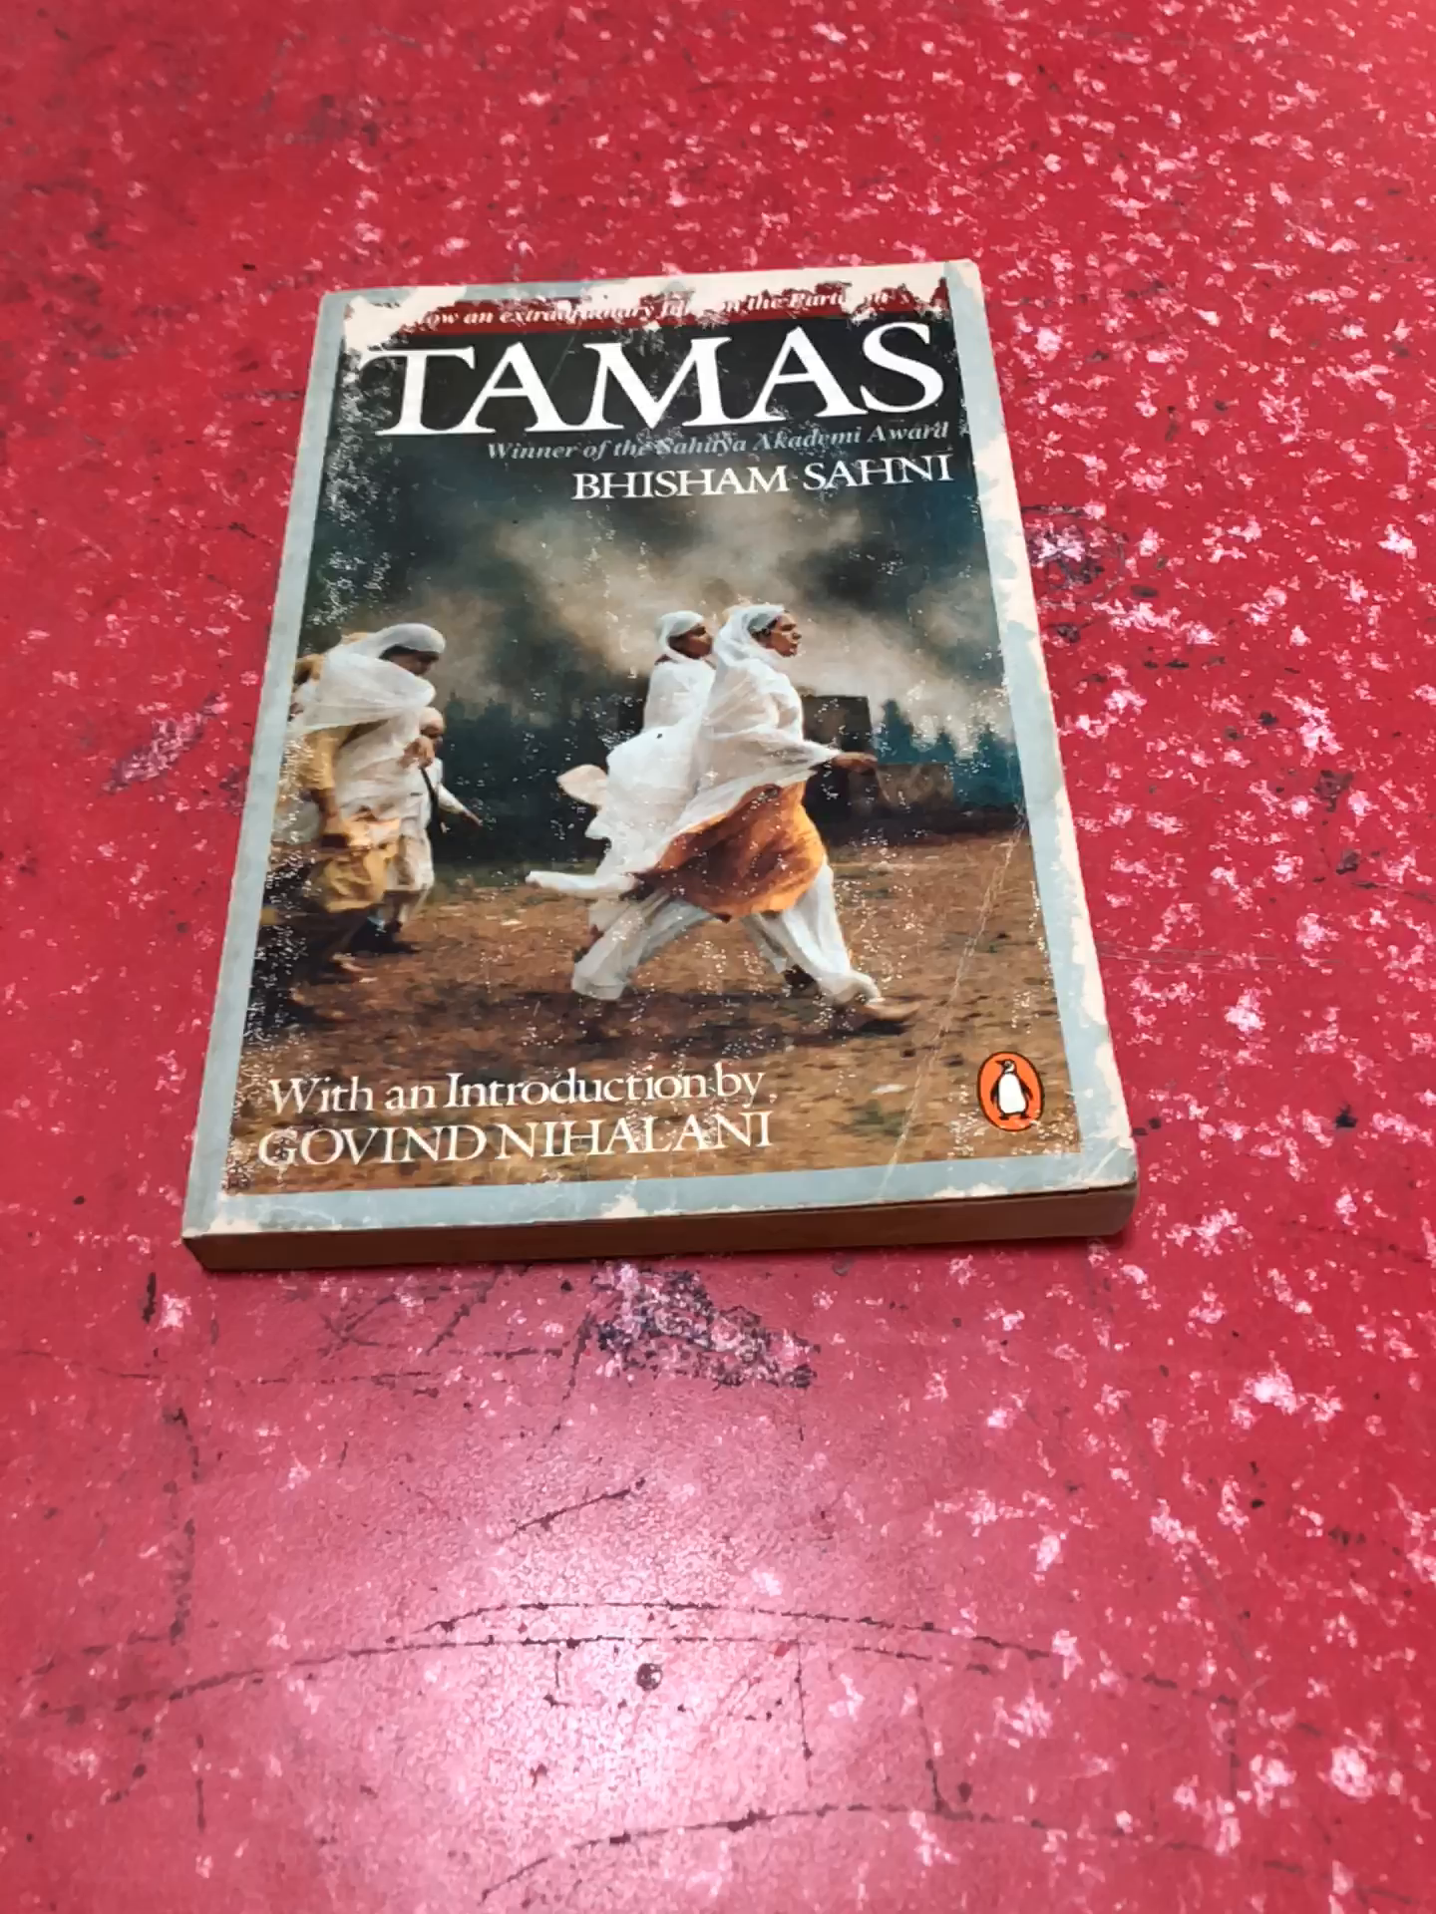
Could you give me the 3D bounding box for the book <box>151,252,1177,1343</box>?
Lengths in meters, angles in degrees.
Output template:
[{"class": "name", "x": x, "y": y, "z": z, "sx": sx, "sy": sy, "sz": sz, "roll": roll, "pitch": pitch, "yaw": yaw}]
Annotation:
[{"class": "book", "x": -0.010, "y": -0.041, "z": 0.264, "sx": 0.130, "sy": 0.020, "sz": 0.200, "roll": -3, "pitch": 59, "yaw": 1}]
